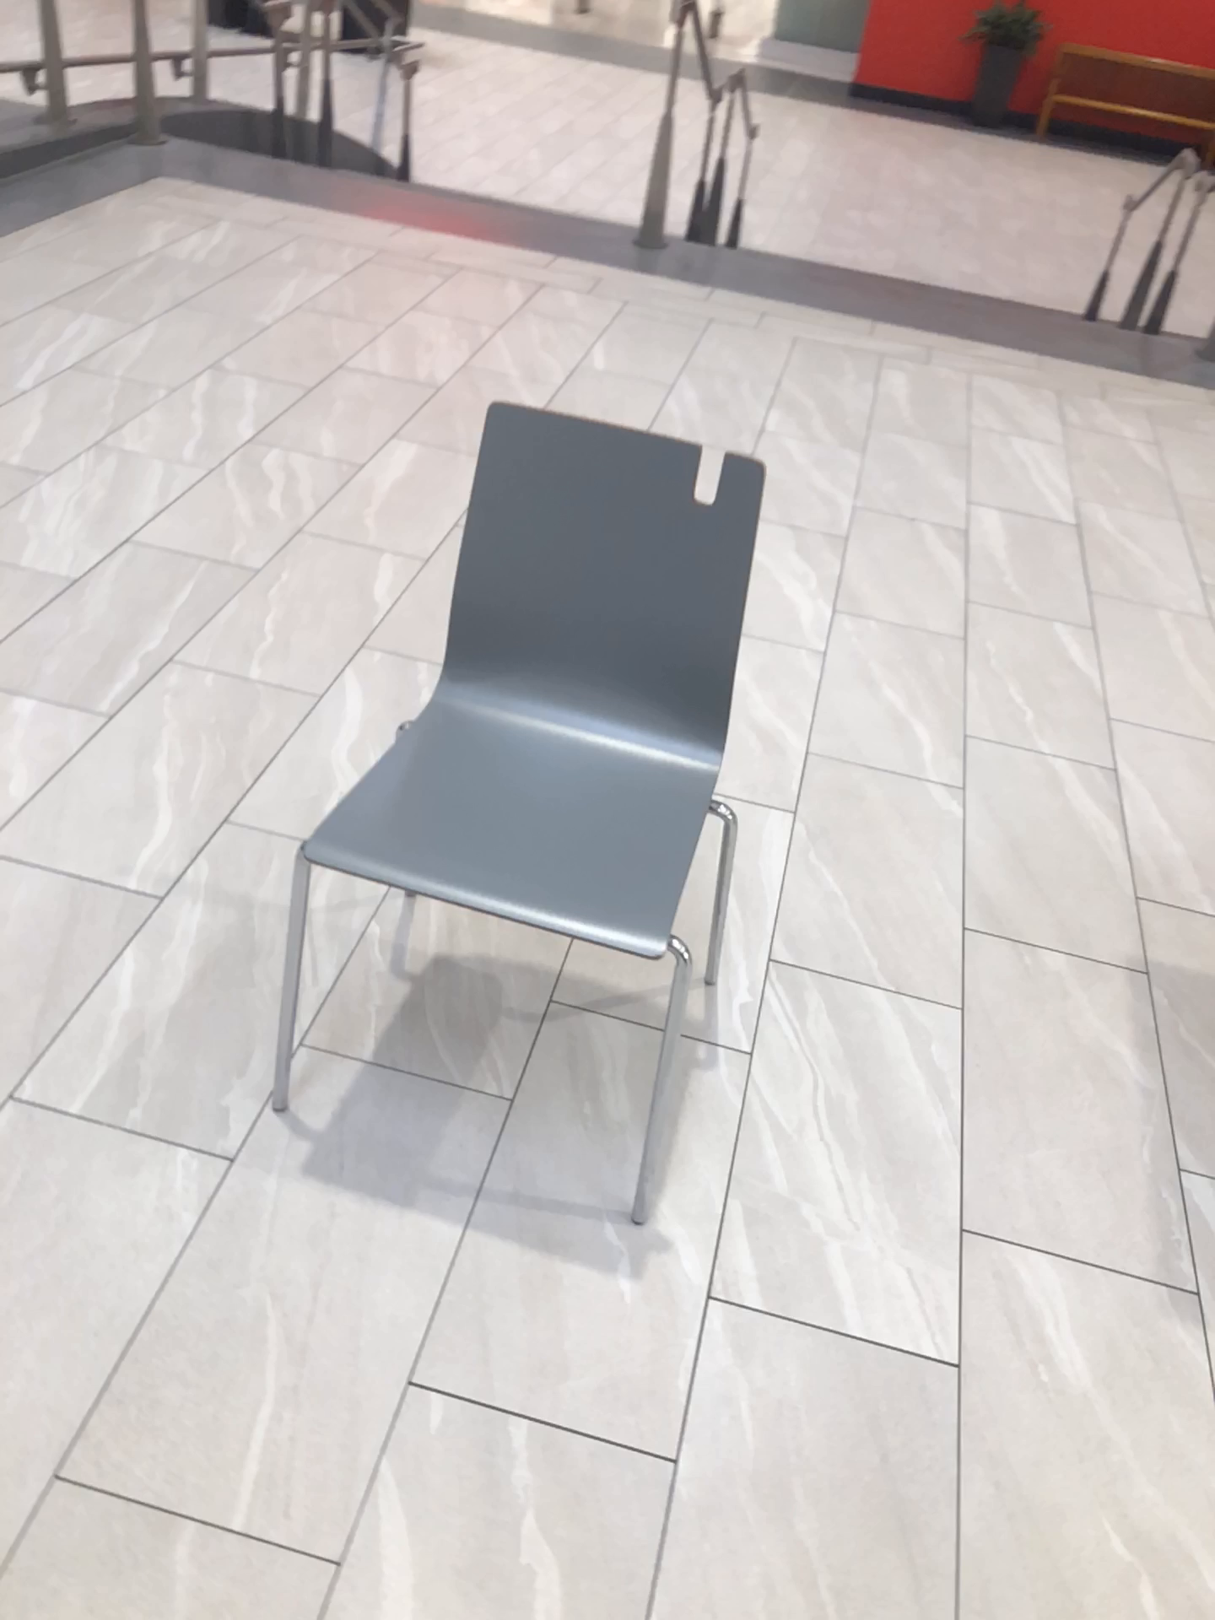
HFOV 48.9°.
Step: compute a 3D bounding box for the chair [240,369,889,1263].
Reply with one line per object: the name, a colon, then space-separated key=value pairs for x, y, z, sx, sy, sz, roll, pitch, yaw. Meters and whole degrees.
chair: x=-0.053 y=0.004 z=1.565 sx=0.524 sy=0.787 sz=0.518 roll=15 pitch=36 yaw=8
